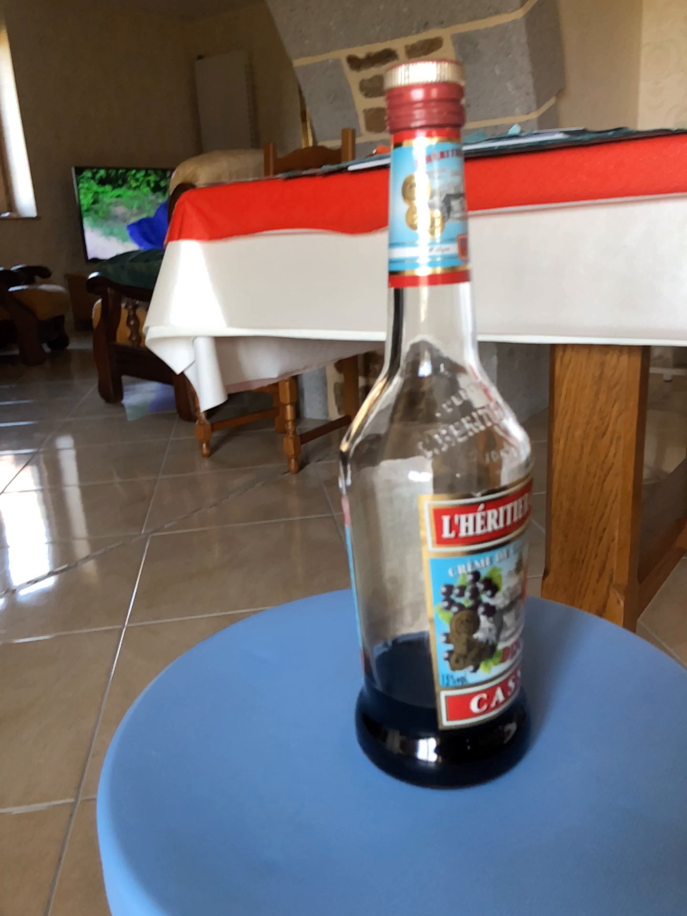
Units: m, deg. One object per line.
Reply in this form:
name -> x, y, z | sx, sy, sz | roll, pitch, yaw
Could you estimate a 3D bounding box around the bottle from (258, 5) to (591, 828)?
bottle -> 0.040, -0.010, 0.328 | 0.090, 0.299, 0.090 | -3, 16, 1
